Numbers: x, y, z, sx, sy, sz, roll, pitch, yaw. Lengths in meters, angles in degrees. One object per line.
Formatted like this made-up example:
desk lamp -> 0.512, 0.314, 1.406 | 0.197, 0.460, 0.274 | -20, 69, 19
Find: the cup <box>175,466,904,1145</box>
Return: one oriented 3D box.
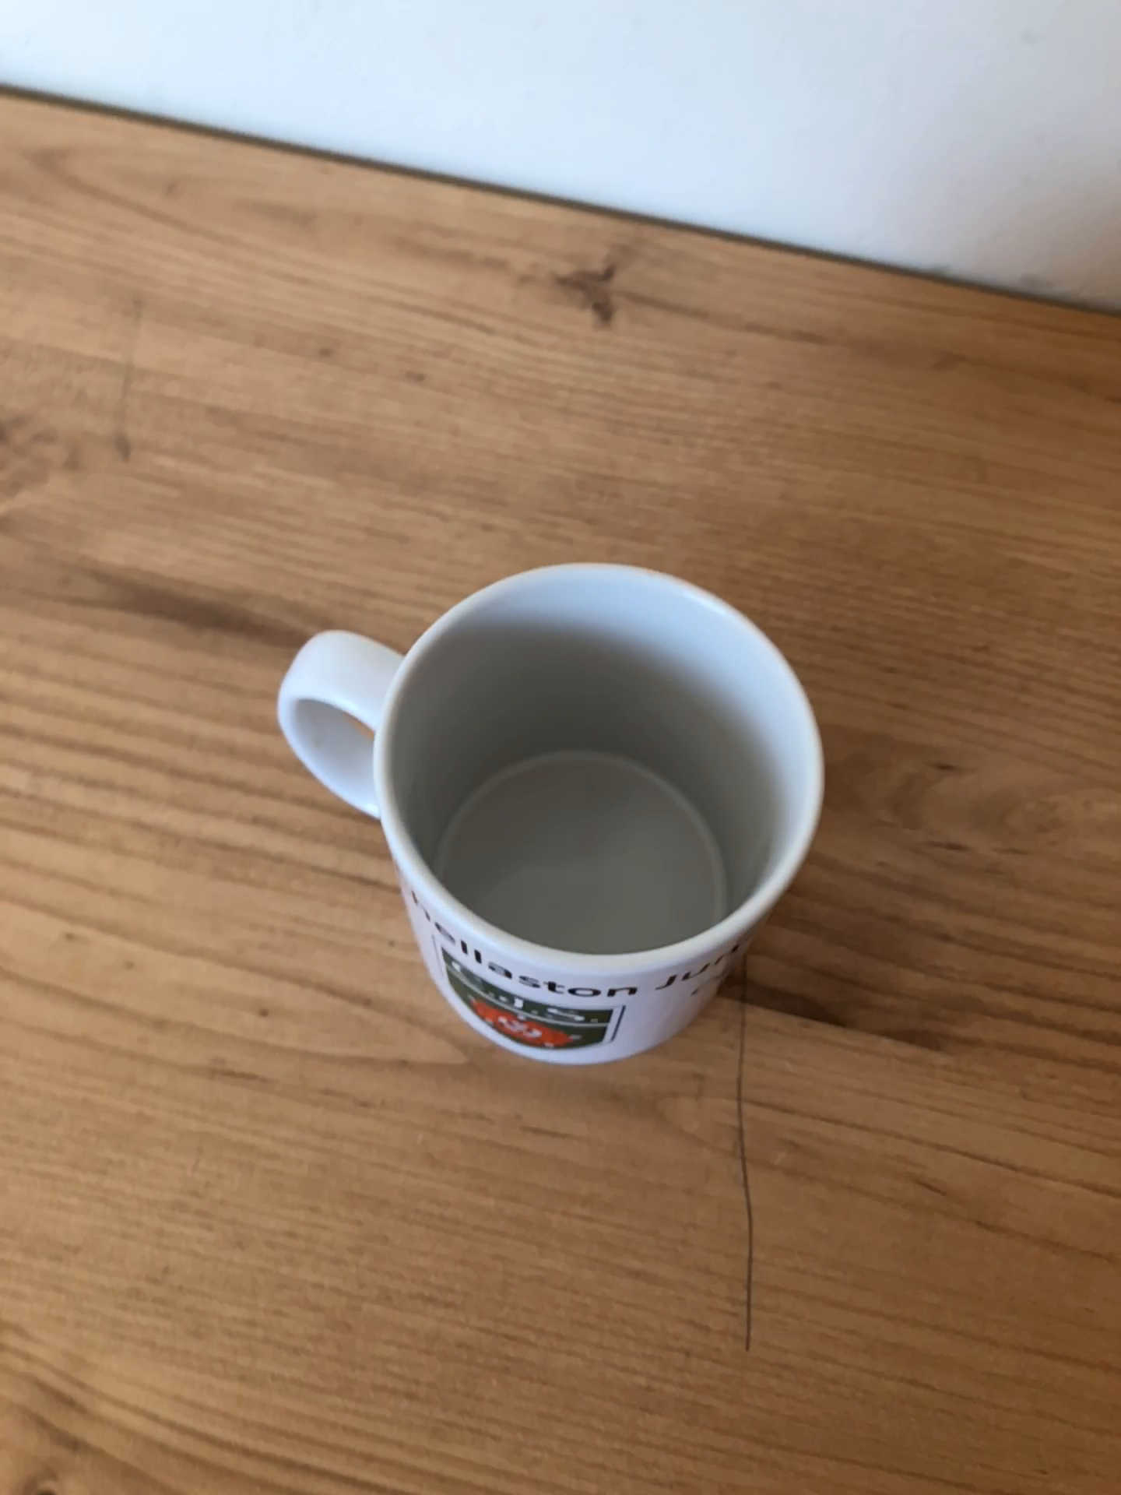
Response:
cup -> -0.001, 0.017, 0.272 | 0.110, 0.096, 0.084 | 19, 65, 11
